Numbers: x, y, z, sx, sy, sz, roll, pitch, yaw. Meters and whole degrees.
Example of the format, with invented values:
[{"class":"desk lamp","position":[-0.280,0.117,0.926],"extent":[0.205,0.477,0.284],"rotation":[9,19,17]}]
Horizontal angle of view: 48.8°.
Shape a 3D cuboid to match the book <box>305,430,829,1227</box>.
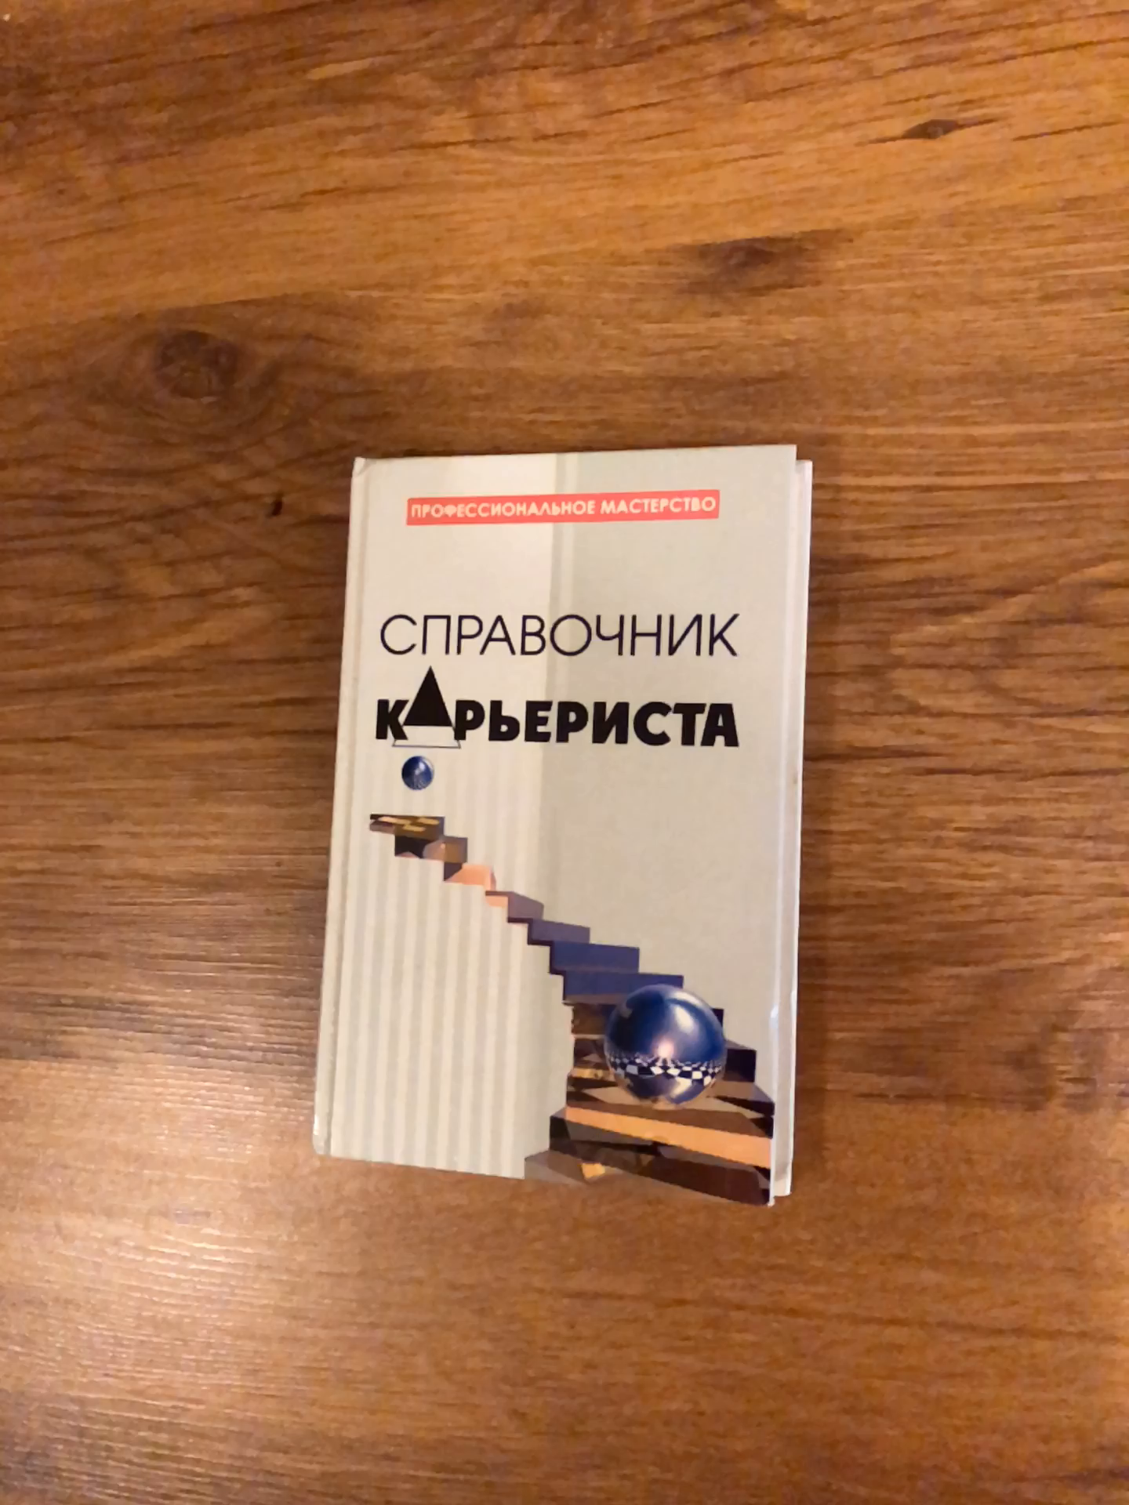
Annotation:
[{"class":"book","position":[0.002,0.016,0.349],"extent":[0.136,0.026,0.204],"rotation":[1,85,15]}]
